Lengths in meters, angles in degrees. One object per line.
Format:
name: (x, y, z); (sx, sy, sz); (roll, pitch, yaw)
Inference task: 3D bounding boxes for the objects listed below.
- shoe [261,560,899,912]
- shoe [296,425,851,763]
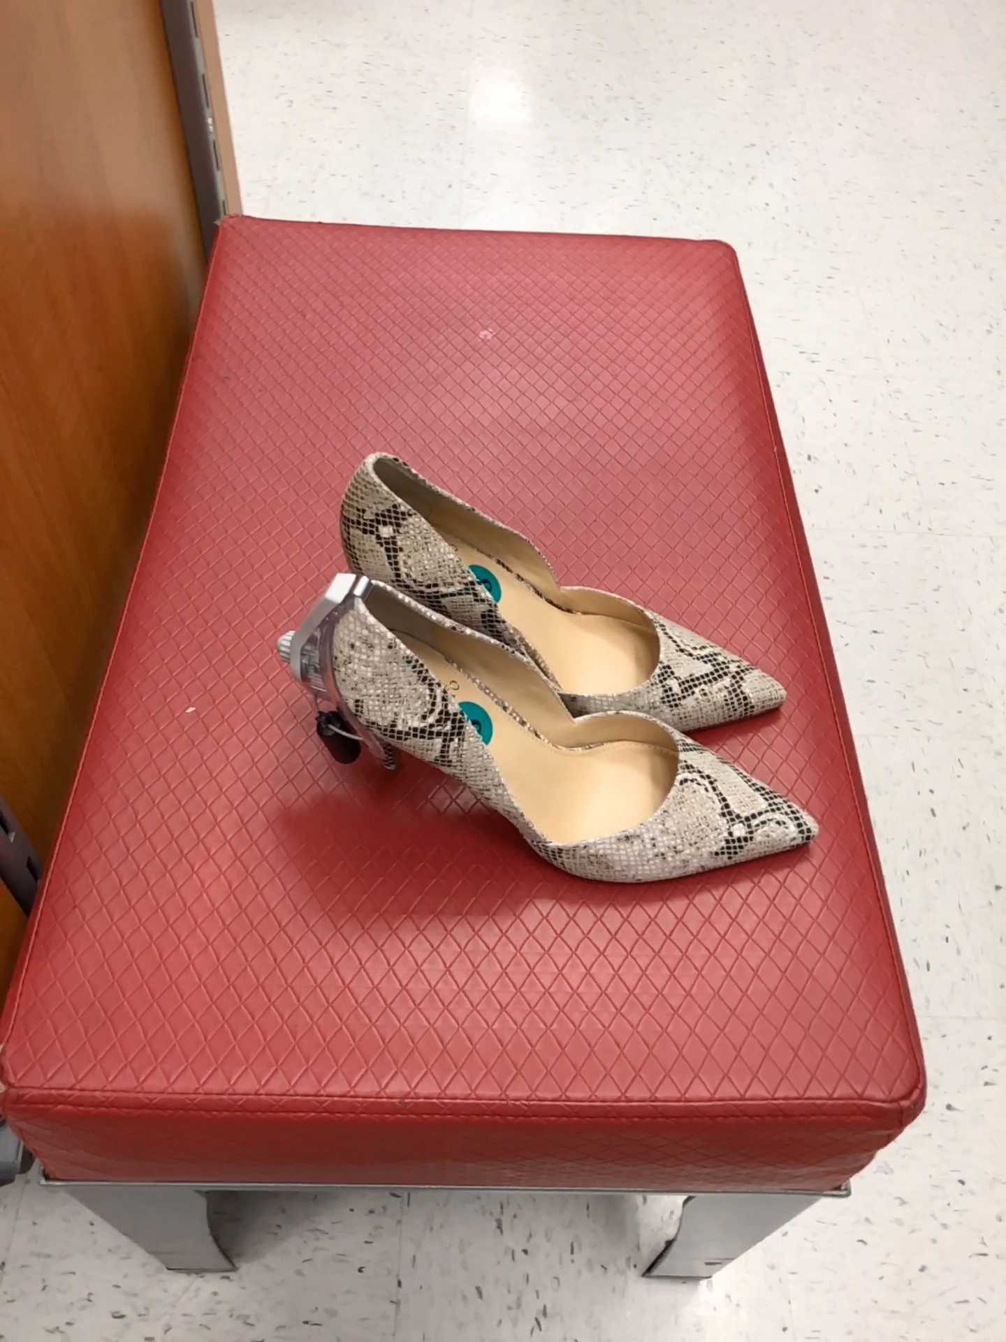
shoe: (0.032, 0.033, 0.524); (0.262, 0.112, 0.092); (6, 52, 1)
shoe: (0.036, -0.040, 0.580); (0.259, 0.102, 0.093); (9, 53, 4)
